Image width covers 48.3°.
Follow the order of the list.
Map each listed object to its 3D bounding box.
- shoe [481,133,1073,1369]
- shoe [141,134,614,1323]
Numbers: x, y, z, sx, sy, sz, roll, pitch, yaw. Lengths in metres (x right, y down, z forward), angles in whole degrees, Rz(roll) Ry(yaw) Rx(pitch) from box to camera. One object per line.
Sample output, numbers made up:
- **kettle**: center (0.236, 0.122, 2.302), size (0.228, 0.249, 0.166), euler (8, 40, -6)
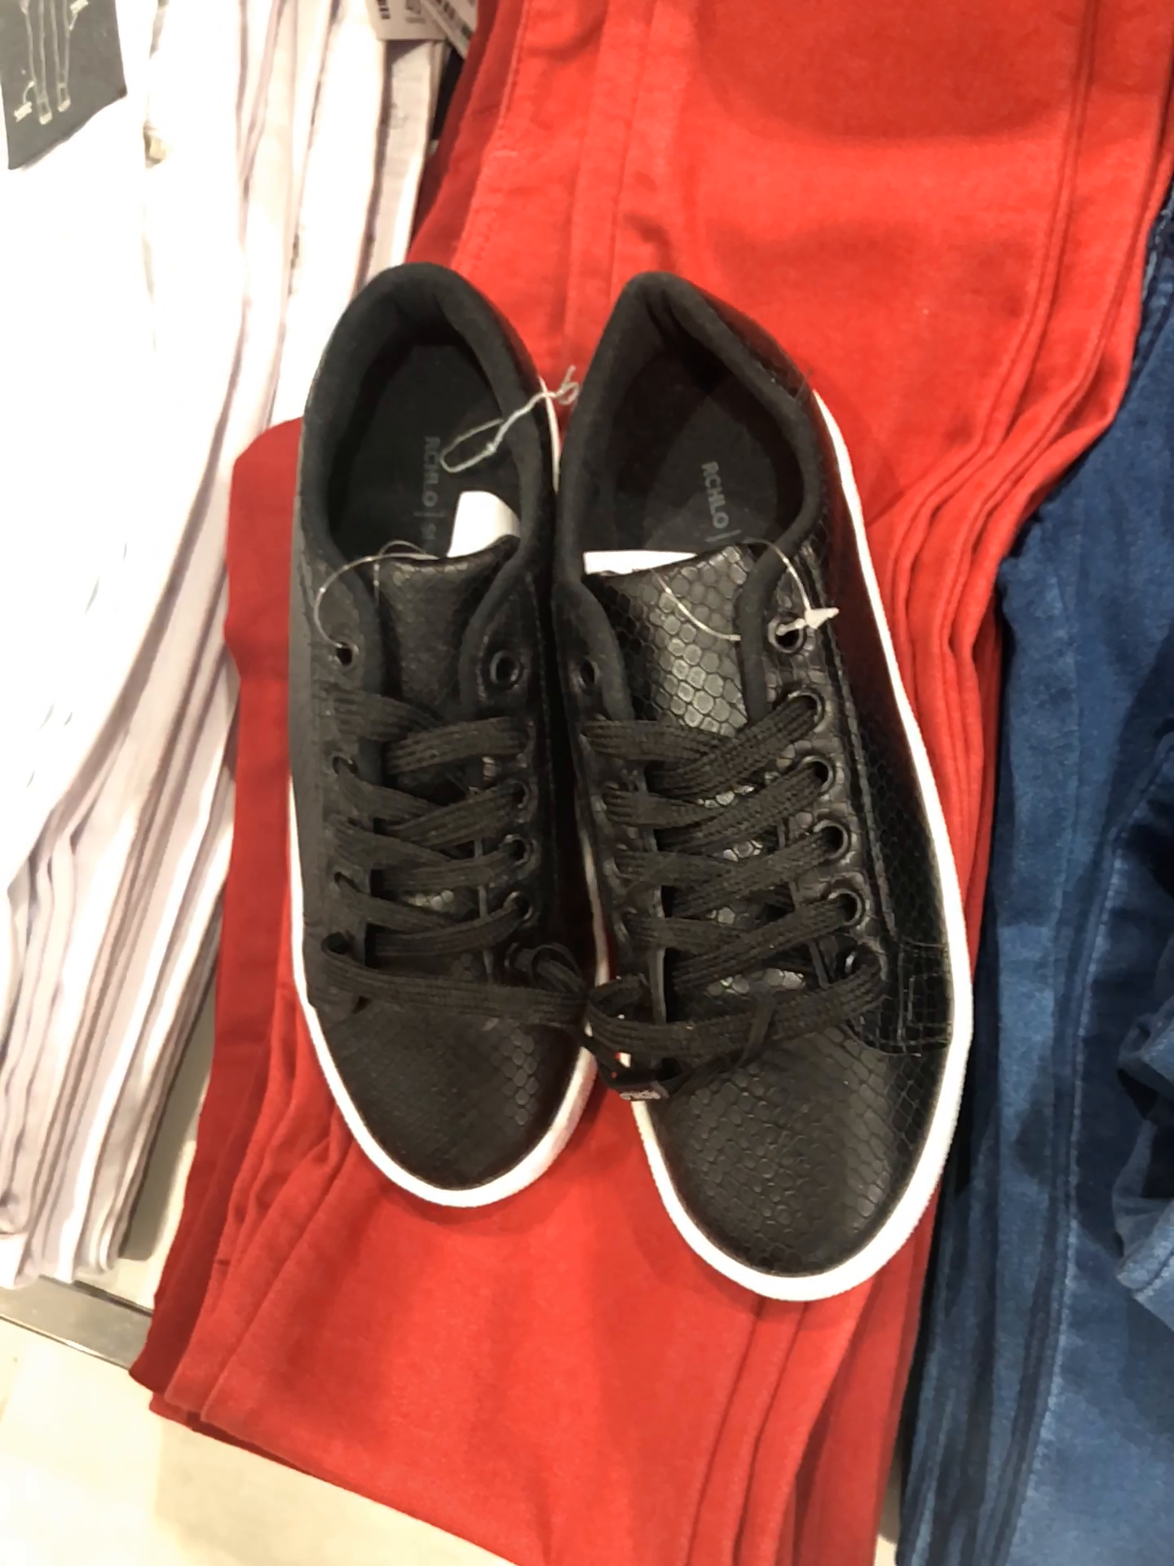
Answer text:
- **shoe**: center (0.039, -0.006, 0.311), size (0.090, 0.100, 0.250), euler (-8, 73, 11)
- **shoe**: center (-0.046, -0.011, 0.330), size (0.090, 0.100, 0.250), euler (-2, 87, 8)
